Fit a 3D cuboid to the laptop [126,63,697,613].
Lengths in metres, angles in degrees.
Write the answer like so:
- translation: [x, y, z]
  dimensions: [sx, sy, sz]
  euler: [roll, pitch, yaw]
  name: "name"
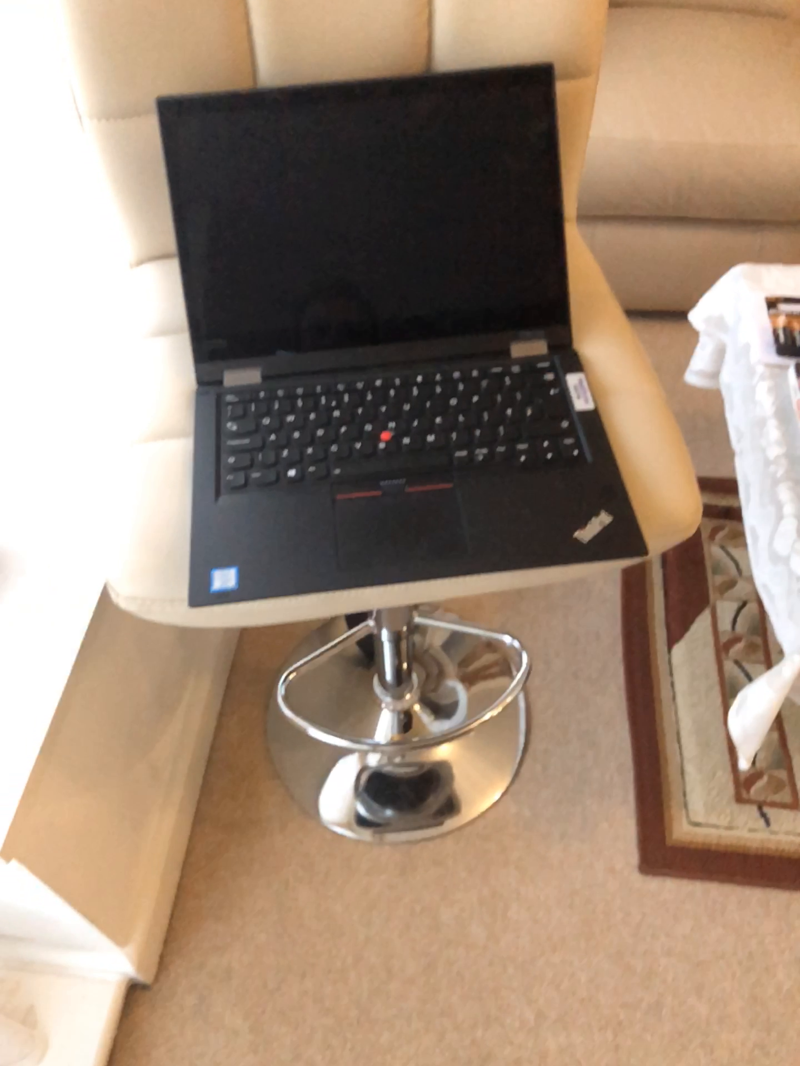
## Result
- translation: [-0.011, -0.160, 0.647]
  dimensions: [0.308, 0.165, 0.368]
  euler: [-7, 53, -3]
  name: "laptop"
